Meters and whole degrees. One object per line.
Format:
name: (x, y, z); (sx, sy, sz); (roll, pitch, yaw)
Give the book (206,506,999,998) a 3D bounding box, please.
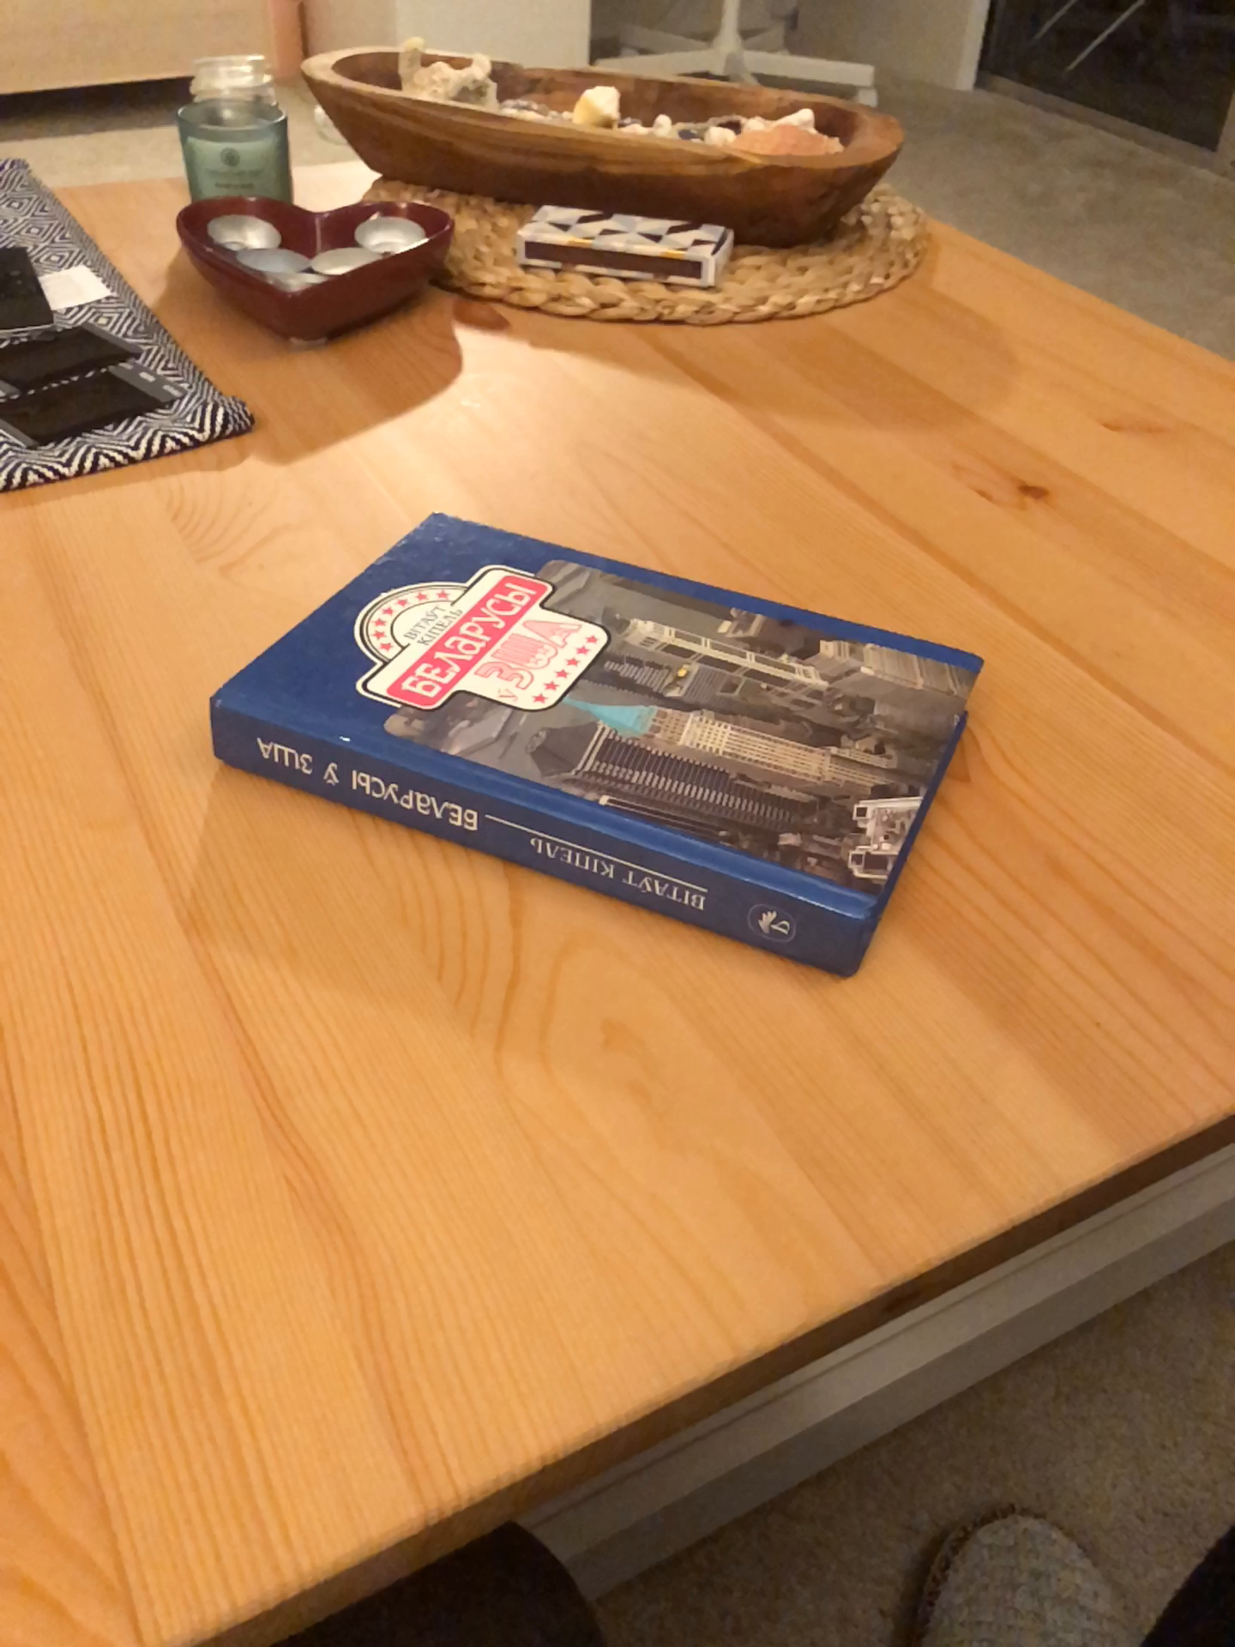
book: (0.000, -0.038, 0.463); (0.224, 0.030, 0.147); (18, 42, 16)
